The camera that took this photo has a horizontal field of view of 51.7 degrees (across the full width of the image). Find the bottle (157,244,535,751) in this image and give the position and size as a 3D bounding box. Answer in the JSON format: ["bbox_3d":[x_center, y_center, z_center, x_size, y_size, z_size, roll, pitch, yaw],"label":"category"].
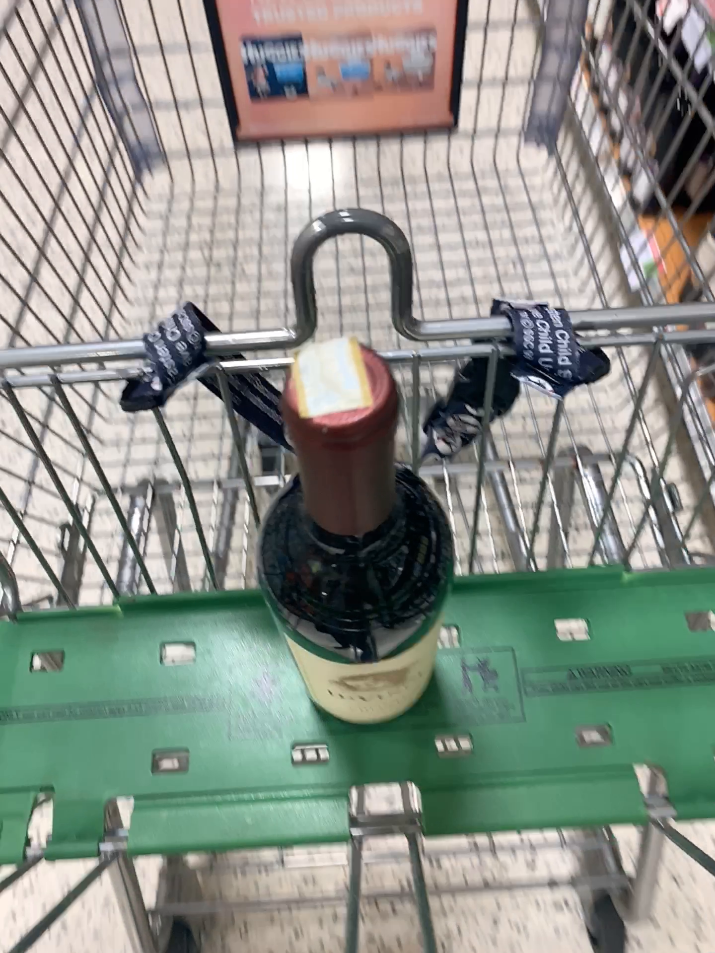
[{"bbox_3d":[-0.001,0.042,0.293,0.080,0.269,0.080,-1,61,2],"label":"bottle"}]
